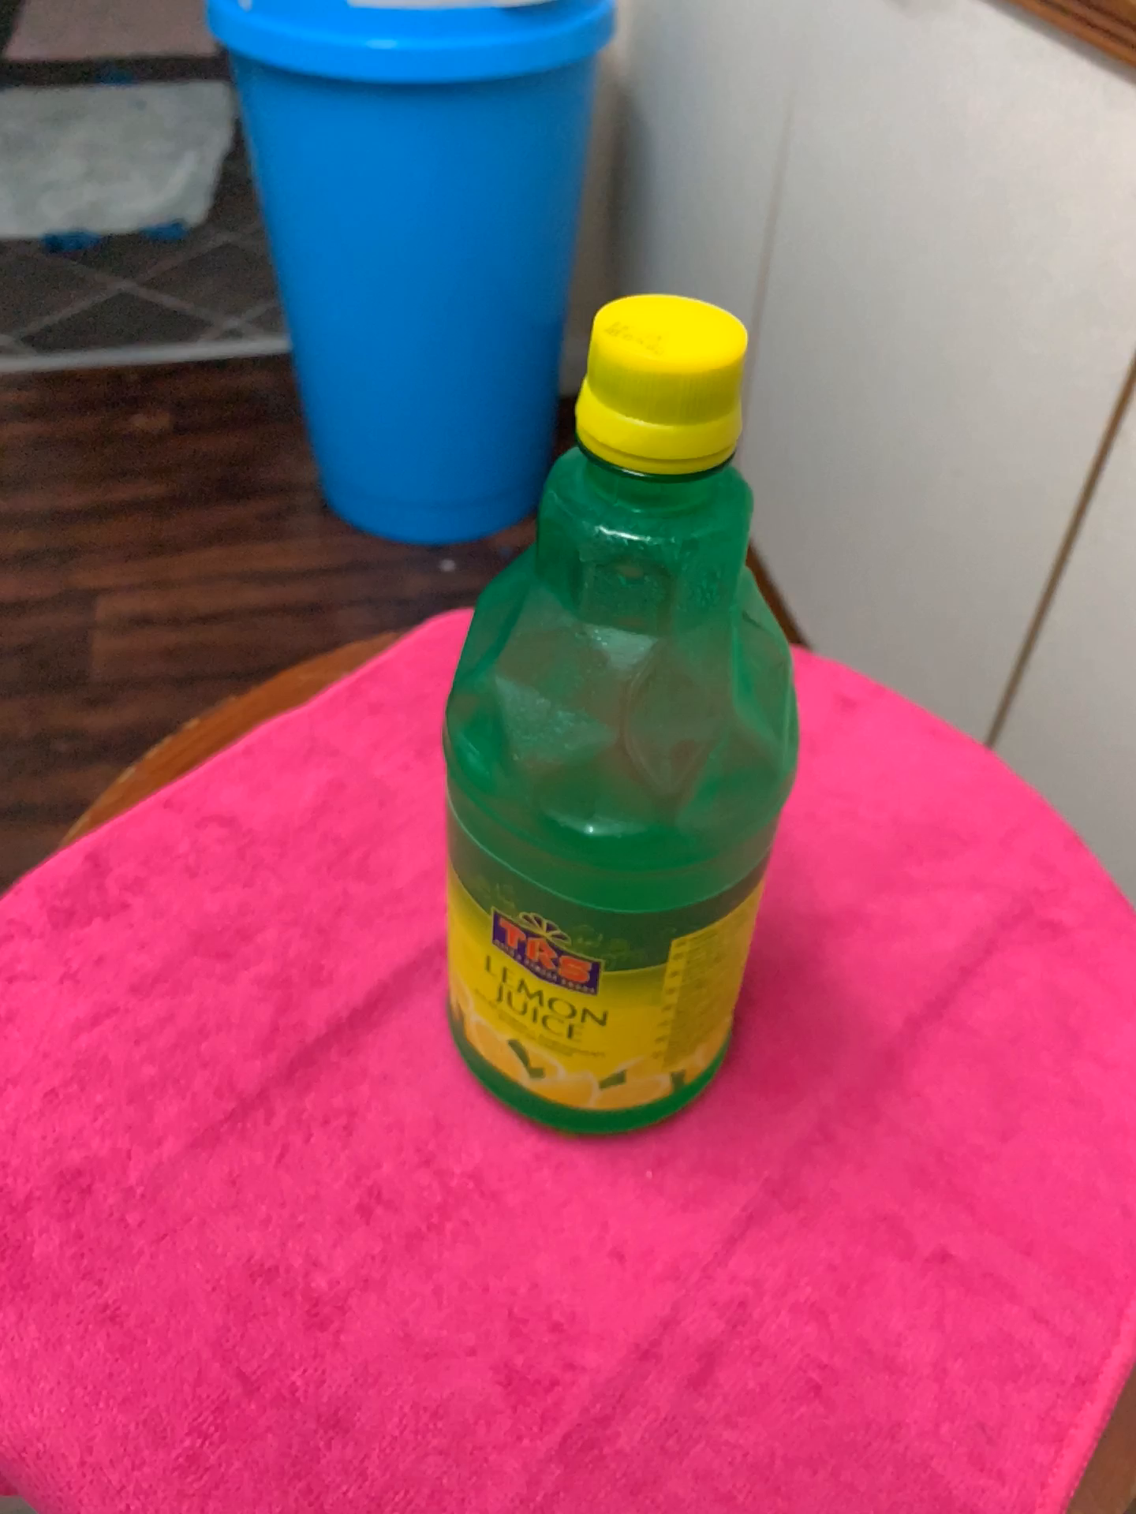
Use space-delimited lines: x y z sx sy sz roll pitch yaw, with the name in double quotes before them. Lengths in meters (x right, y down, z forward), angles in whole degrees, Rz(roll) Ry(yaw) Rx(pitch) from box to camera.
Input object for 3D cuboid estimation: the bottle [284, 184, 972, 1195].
"bottle" 0.012 -0.001 0.299 0.100 0.228 0.091 19 47 16
